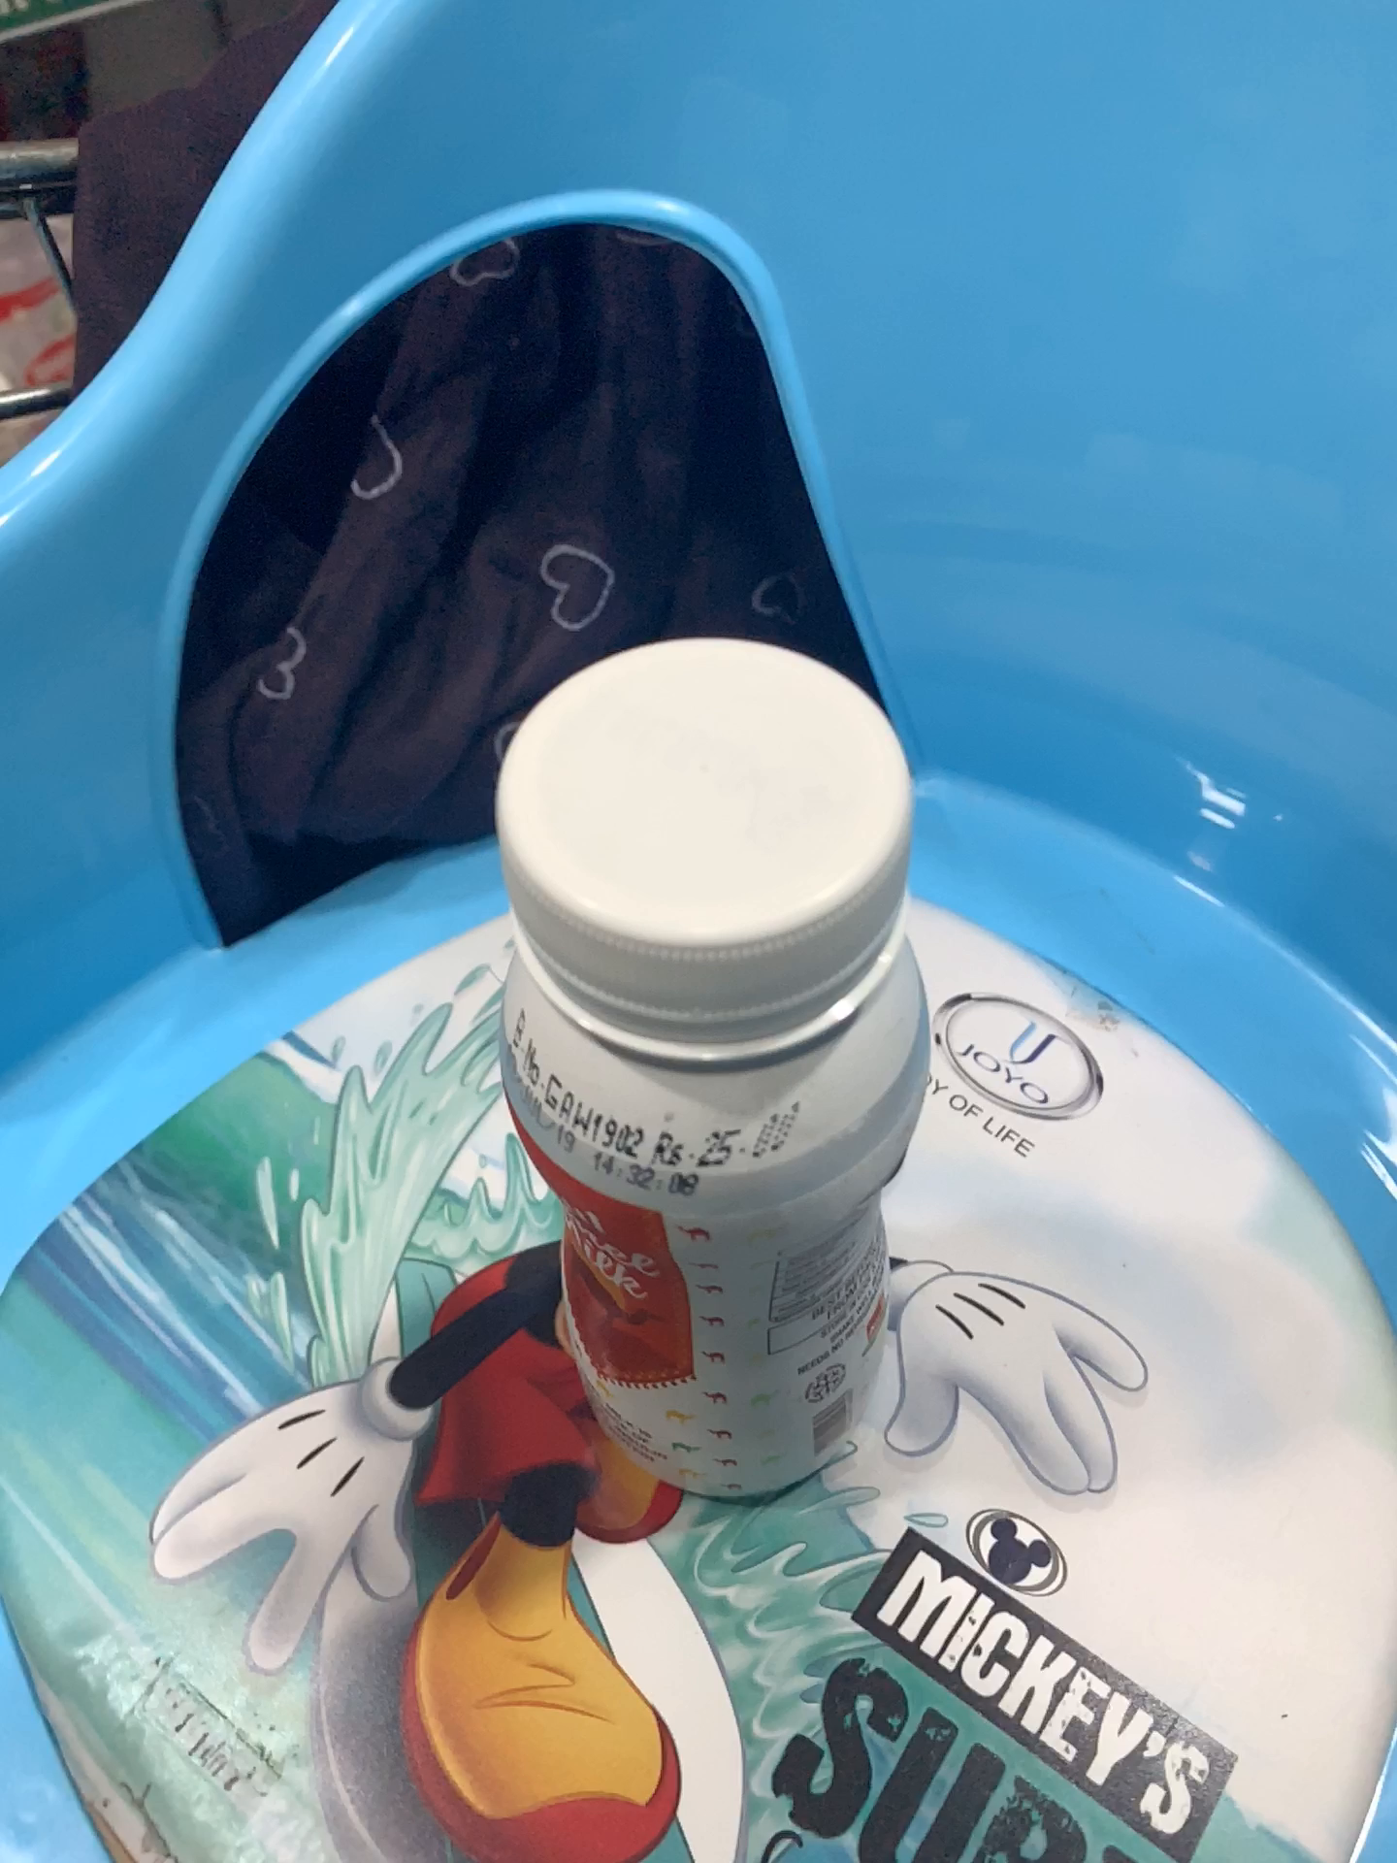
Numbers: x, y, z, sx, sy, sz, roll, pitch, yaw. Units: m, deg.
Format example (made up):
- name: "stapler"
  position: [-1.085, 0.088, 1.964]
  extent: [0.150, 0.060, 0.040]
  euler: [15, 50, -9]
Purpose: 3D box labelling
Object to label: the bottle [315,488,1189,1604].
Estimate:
- name: "bottle"
  position: [0.004, 0.023, 0.190]
  extent: [0.060, 0.130, 0.060]
  euler: [0, 49, 0]
